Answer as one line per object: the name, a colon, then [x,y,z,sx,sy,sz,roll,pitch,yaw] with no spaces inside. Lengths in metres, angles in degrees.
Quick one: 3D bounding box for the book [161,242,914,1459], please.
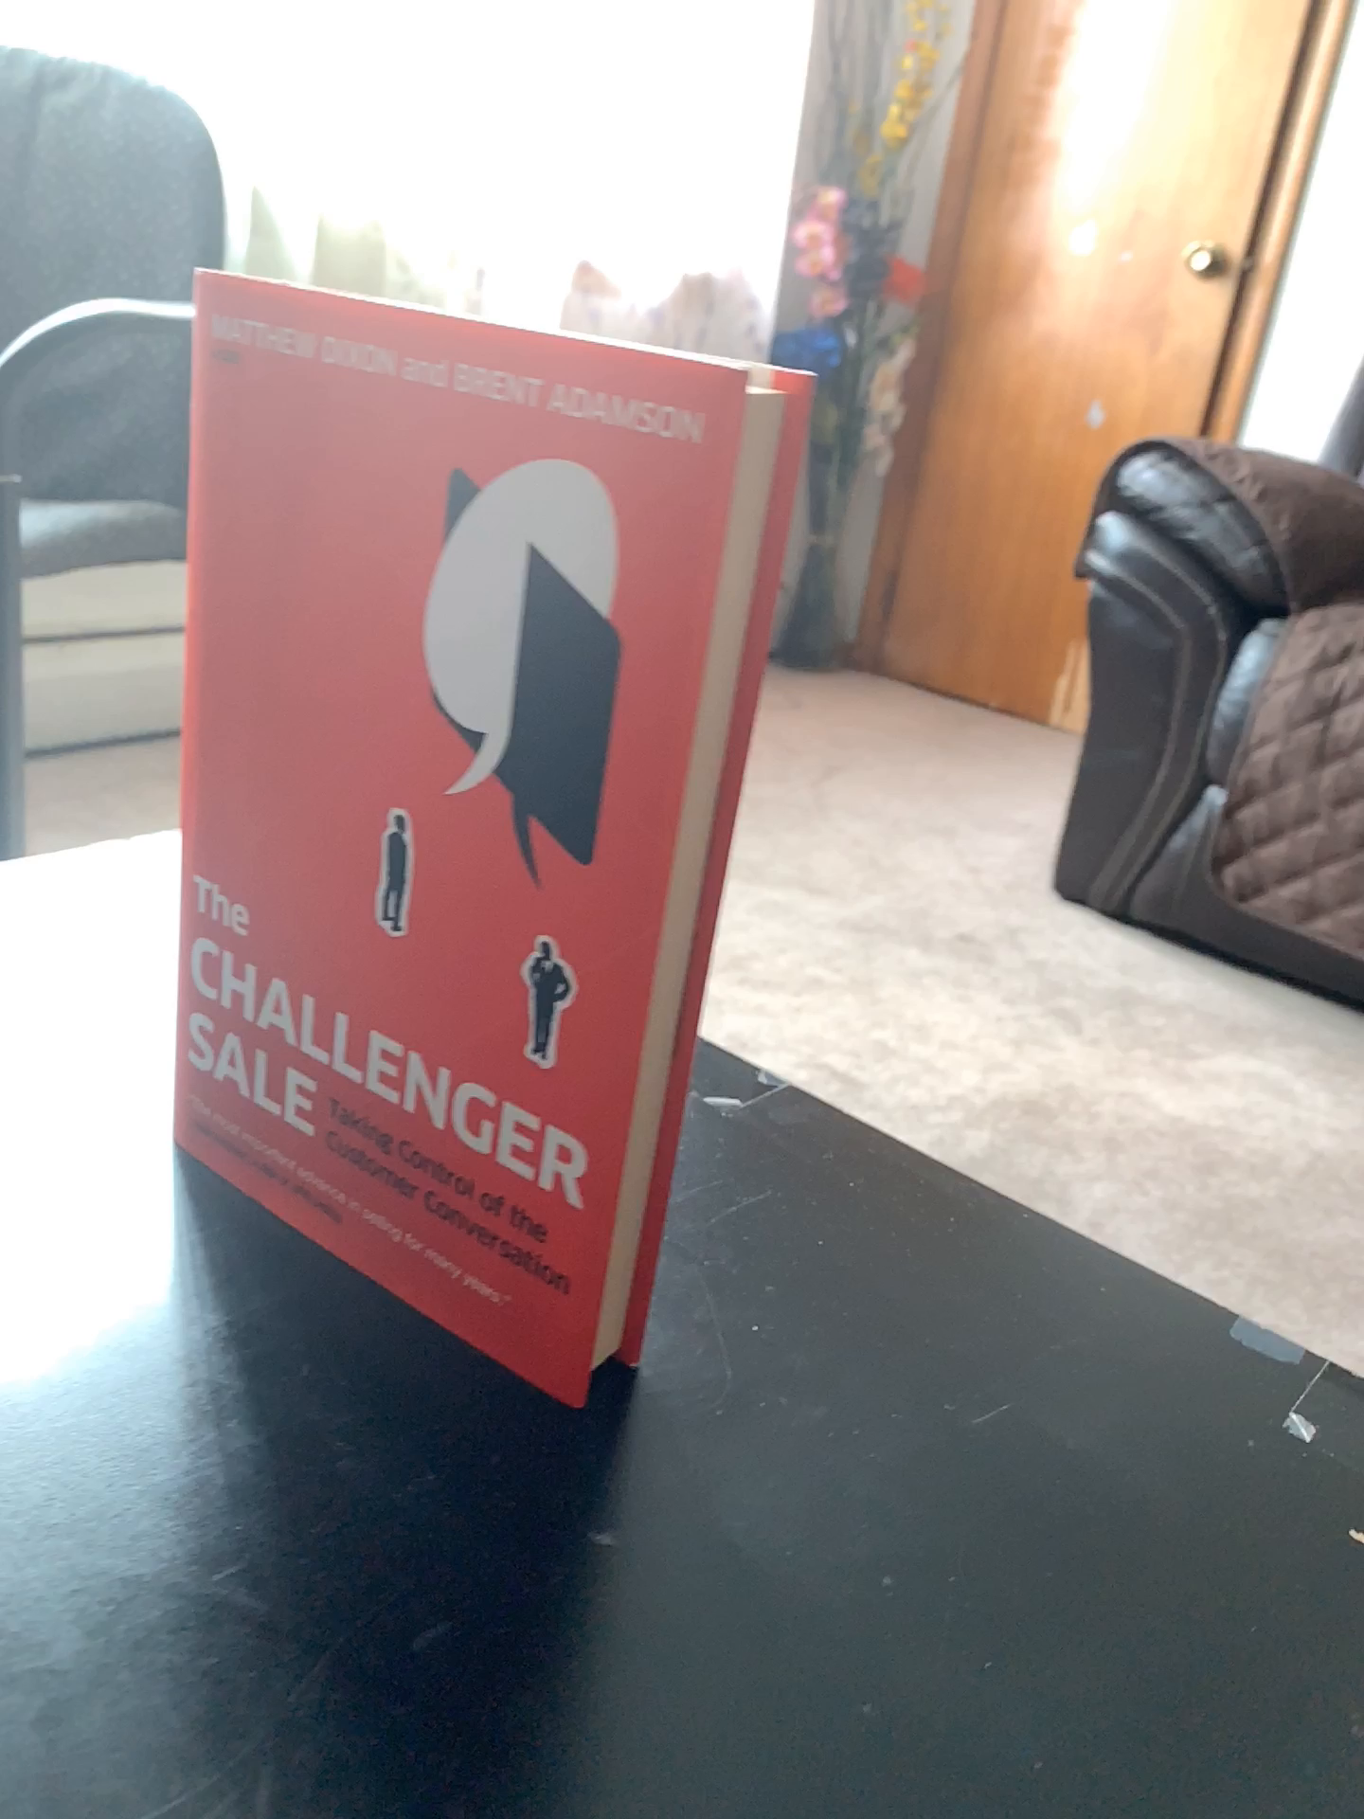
book: [-0.053,-0.018,0.337,0.170,0.238,0.040,22,25,30]
